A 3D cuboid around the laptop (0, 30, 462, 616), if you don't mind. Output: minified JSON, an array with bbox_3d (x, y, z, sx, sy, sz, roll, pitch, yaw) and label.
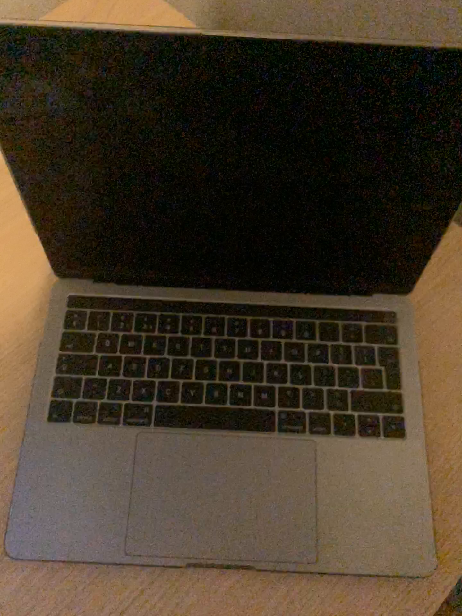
[{"bbox_3d":[0.001,0.023,0.288,0.294,0.198,0.257,3,69,0],"label":"laptop"}]
